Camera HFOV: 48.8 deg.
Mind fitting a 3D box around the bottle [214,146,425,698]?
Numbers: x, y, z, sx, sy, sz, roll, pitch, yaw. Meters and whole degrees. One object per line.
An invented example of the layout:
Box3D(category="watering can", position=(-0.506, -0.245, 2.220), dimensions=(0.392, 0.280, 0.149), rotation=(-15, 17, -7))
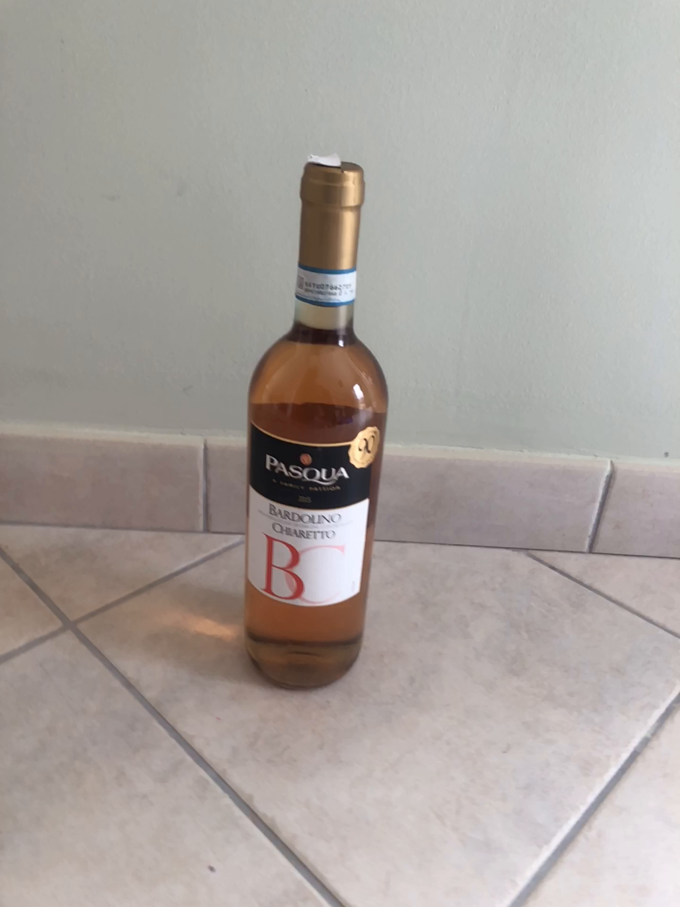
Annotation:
Box3D(category="bottle", position=(-0.014, -0.007, 0.387), dimensions=(0.080, 0.268, 0.081), rotation=(4, 29, -2))
